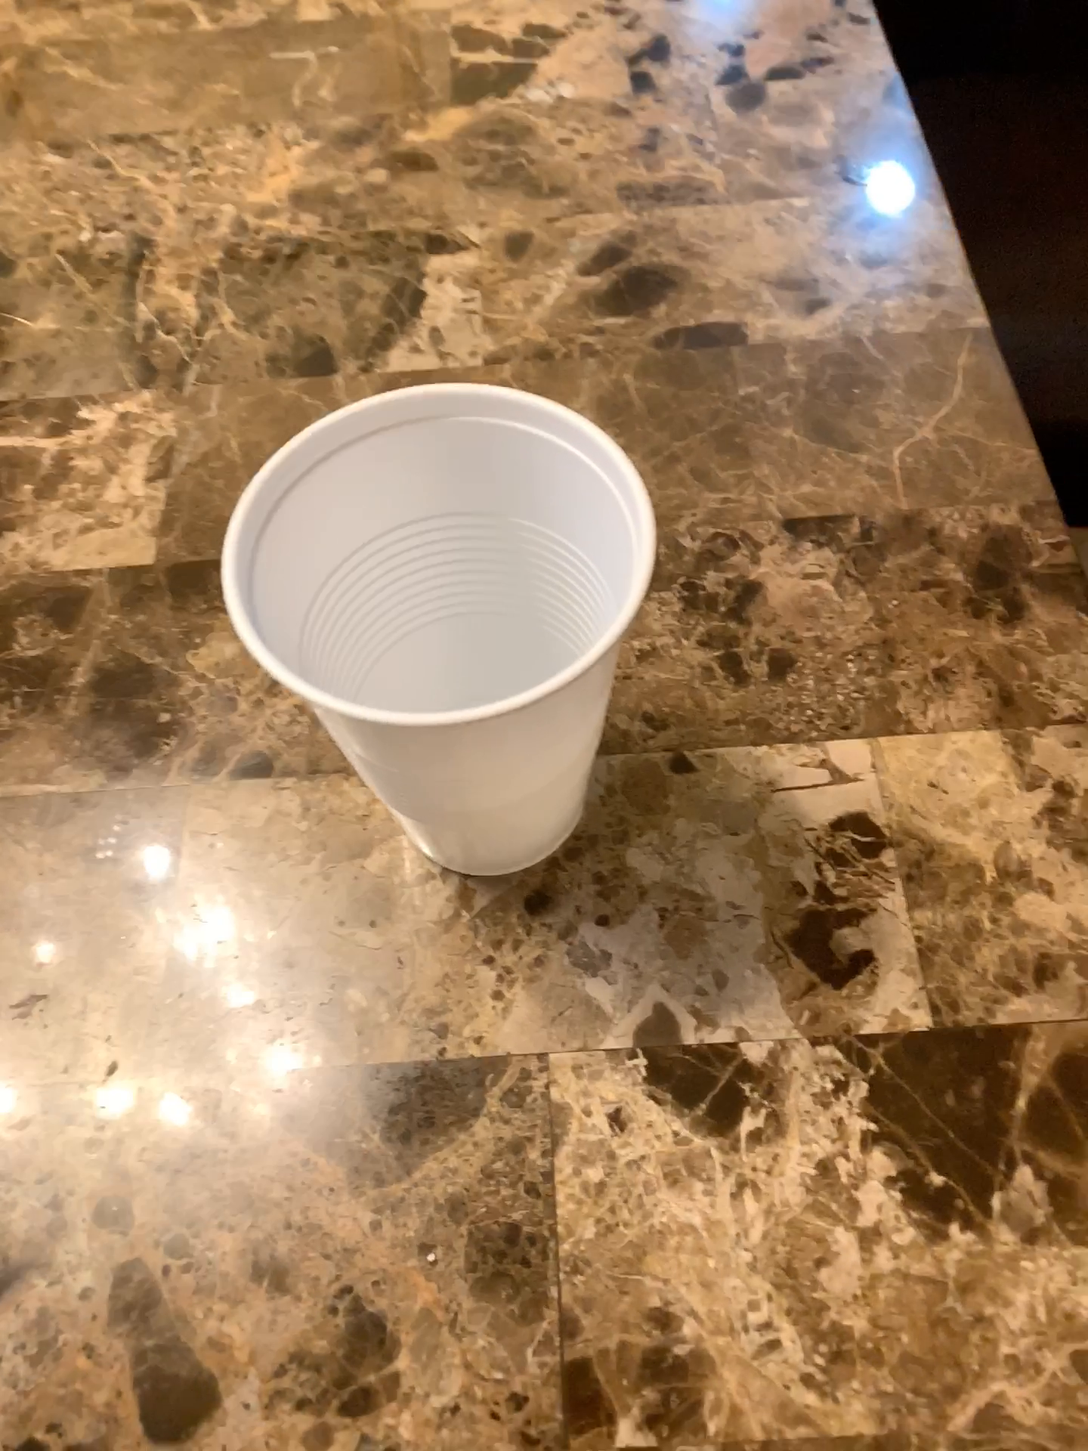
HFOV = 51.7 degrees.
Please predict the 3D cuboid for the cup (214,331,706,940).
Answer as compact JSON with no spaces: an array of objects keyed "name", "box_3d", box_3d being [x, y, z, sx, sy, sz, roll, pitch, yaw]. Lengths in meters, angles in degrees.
[{"name":"cup","box_3d":[-0.016,-0.016,0.238,0.077,0.084,0.082,-2,59,4]}]
